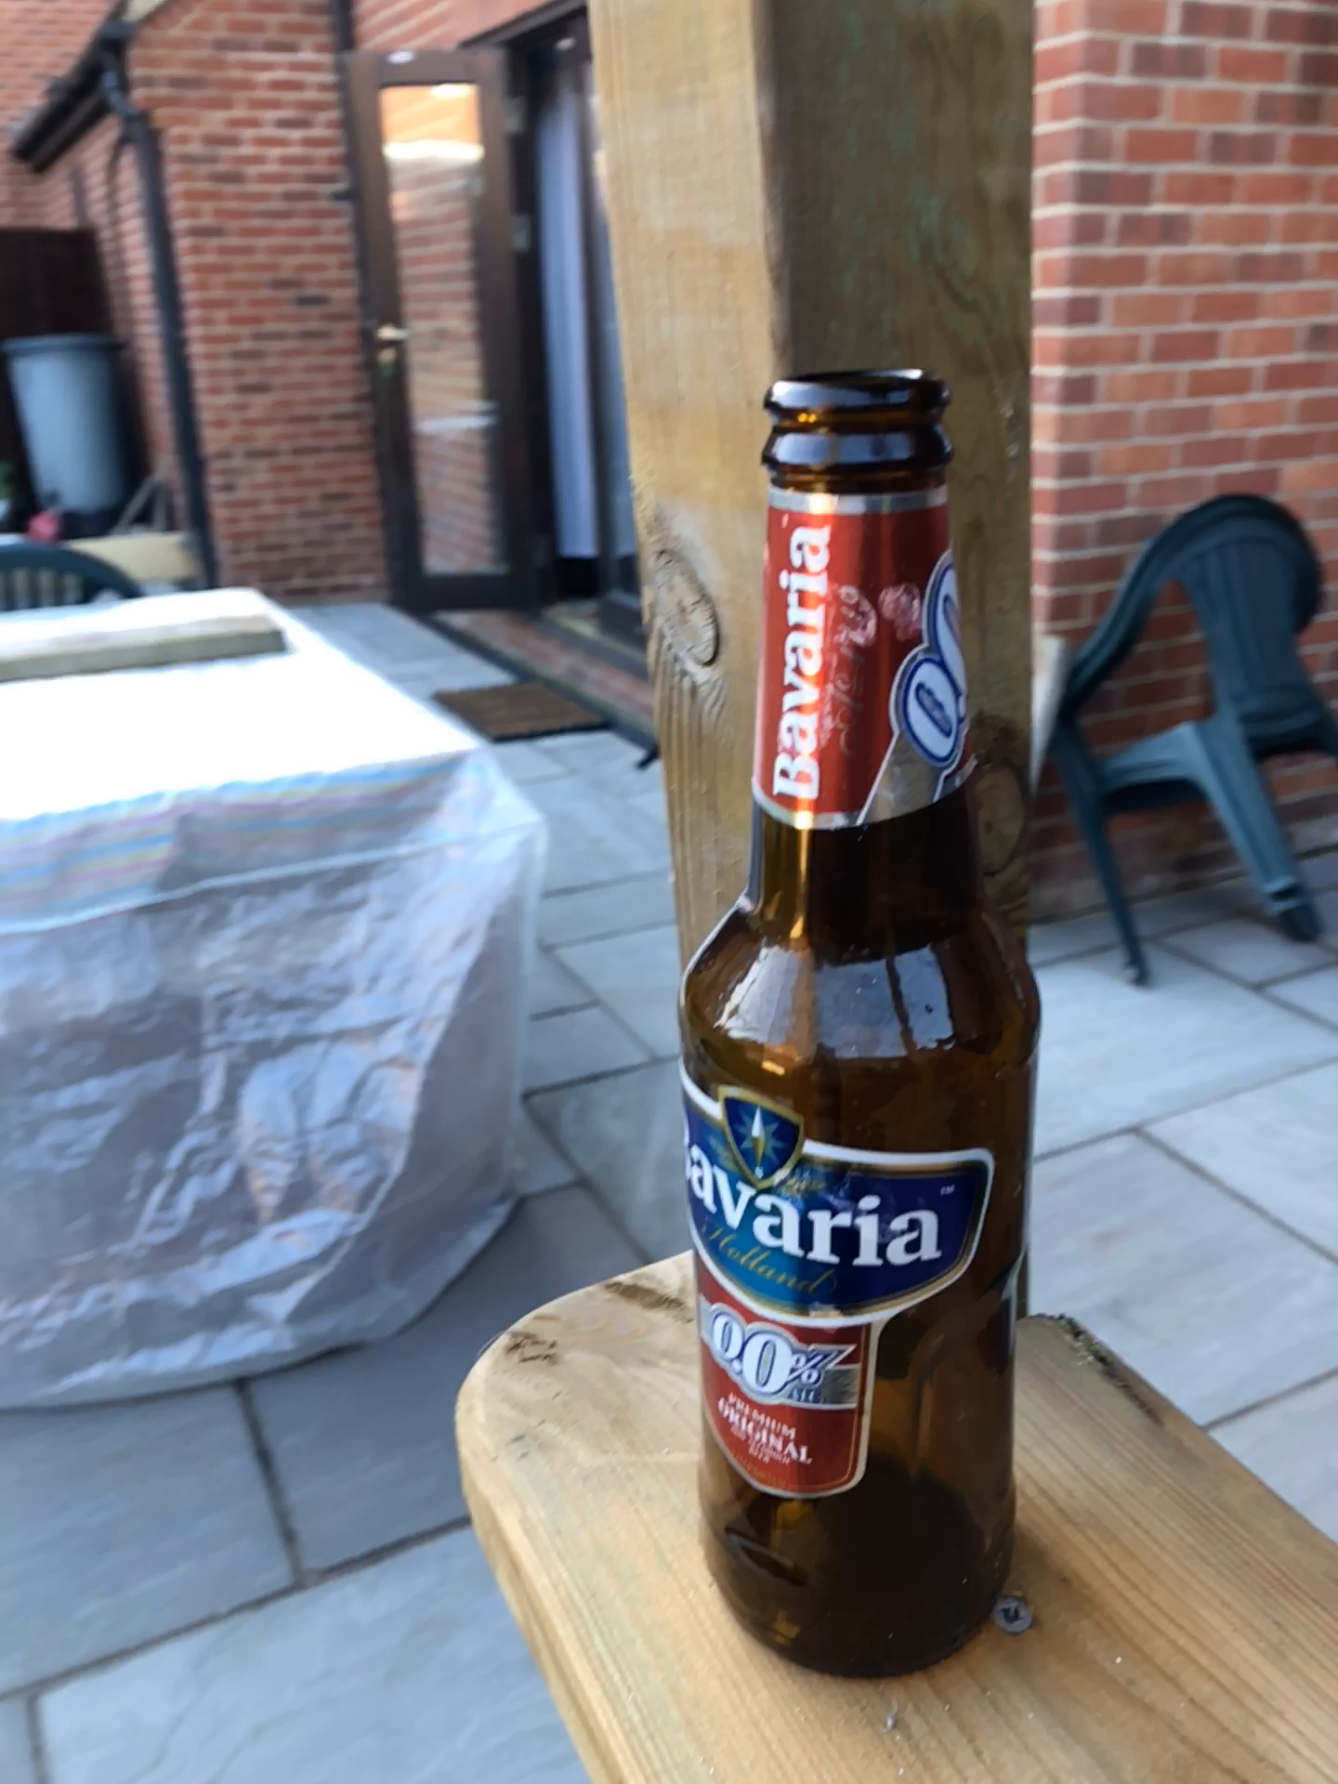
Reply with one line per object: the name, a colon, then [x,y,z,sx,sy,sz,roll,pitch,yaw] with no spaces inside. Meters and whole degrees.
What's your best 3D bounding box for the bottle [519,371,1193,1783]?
bottle: [0.028,0.028,0.241,0.070,0.209,0.060,17,28,40]
